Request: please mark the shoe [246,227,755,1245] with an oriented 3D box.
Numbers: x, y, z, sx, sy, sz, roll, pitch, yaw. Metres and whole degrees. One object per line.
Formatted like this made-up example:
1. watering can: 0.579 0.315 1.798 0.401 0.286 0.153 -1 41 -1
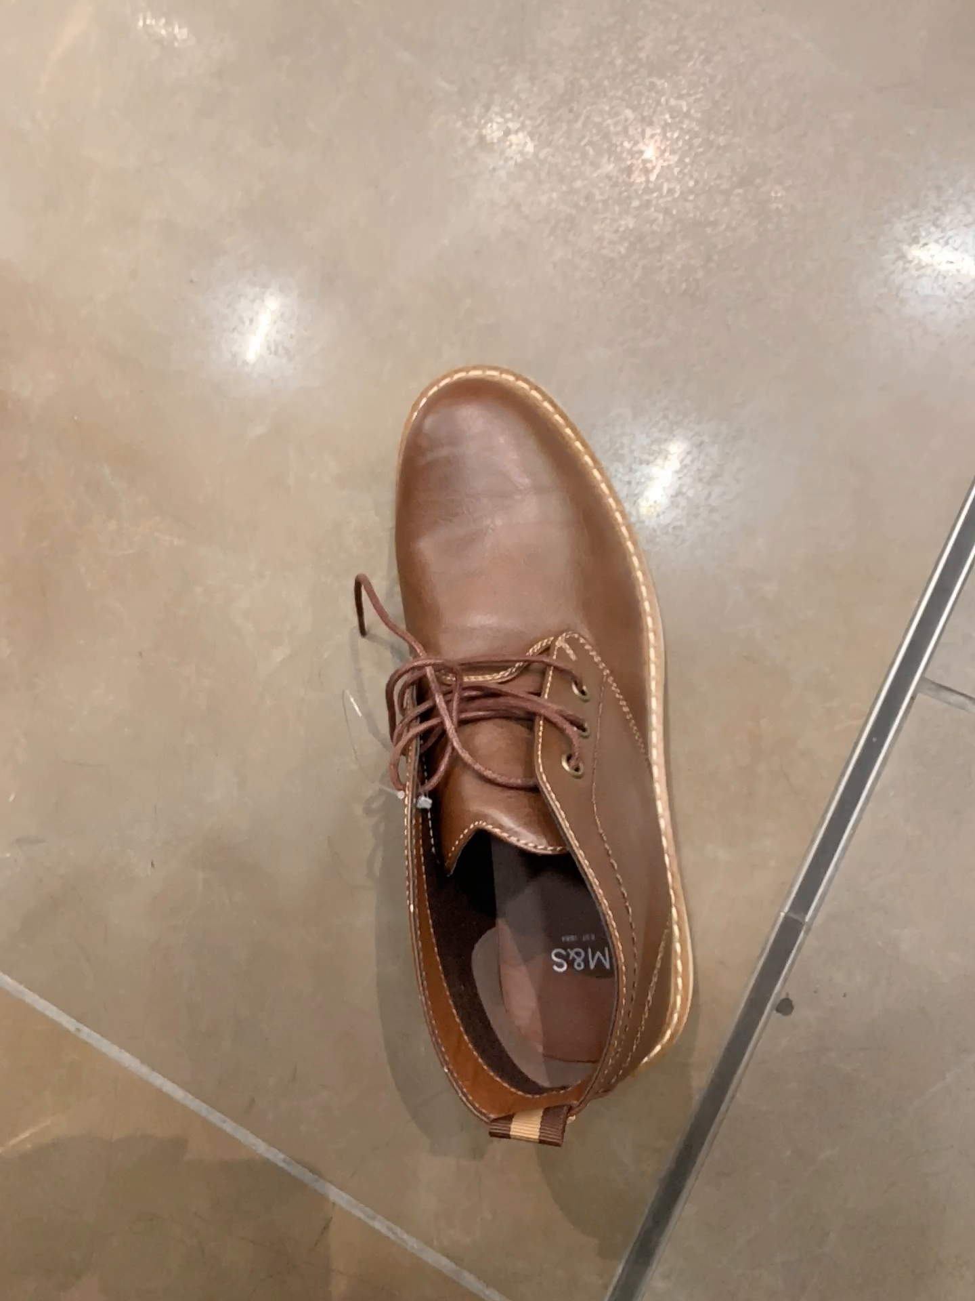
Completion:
1. shoe: 0.011 0.027 0.364 0.106 0.120 0.295 -12 82 14
